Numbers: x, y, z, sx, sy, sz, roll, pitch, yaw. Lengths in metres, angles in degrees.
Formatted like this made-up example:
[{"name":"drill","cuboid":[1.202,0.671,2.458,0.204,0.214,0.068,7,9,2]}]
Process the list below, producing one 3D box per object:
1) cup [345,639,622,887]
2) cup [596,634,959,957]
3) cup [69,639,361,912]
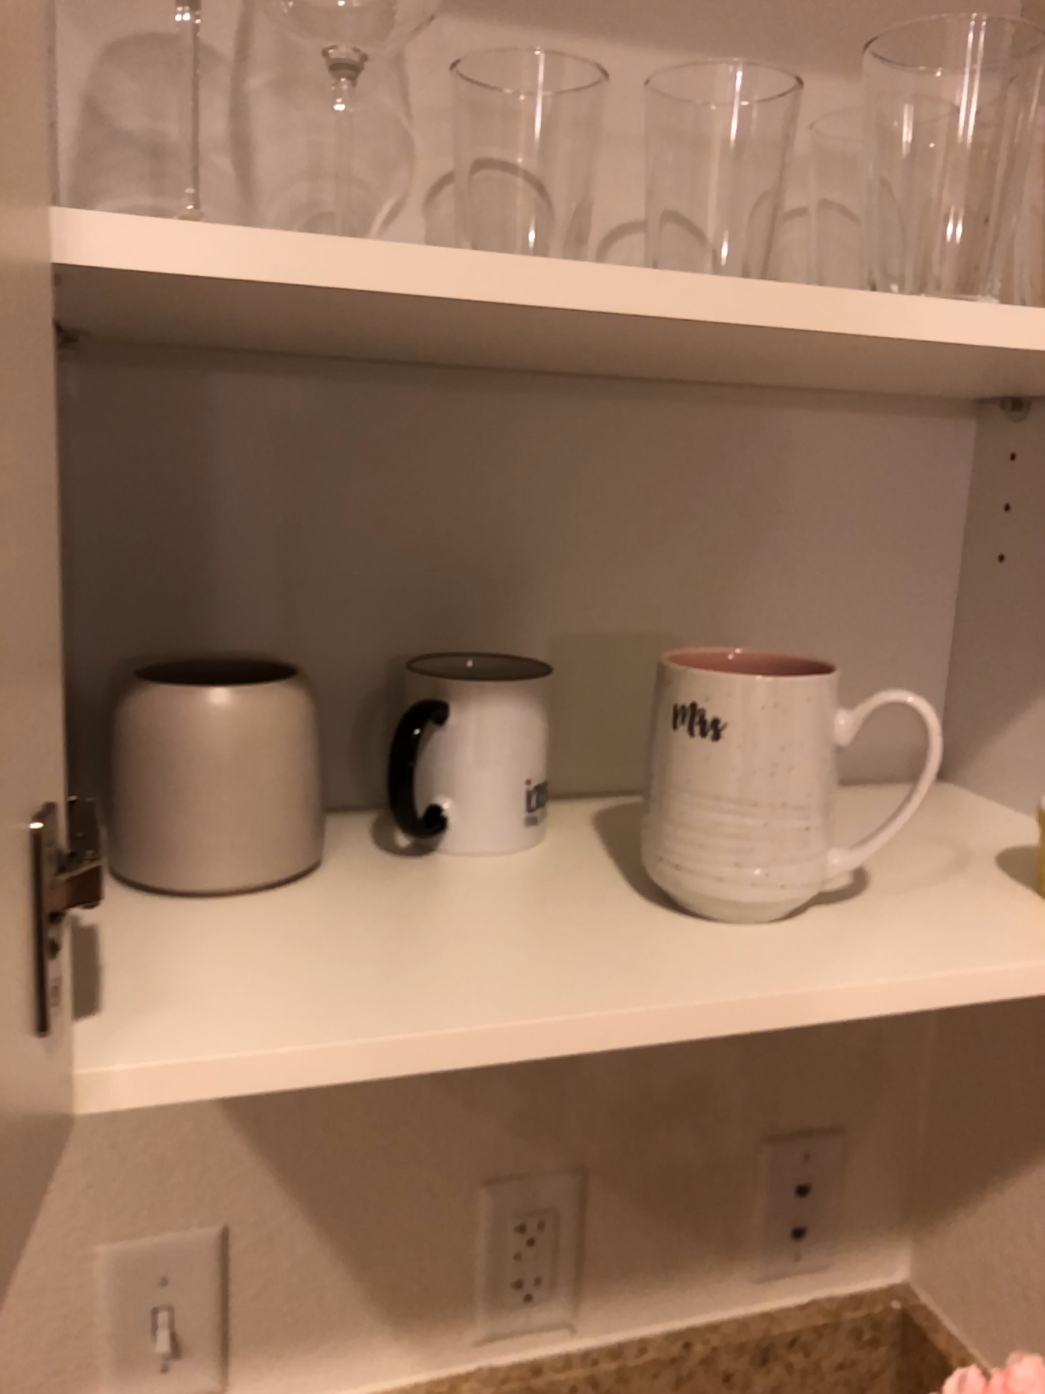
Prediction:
[{"name":"cup","cuboid":[-0.017,0.026,0.580,0.090,0.090,0.110,8,12,29]},{"name":"cup","cuboid":[0.115,0.037,0.527,0.140,0.110,0.090,6,11,17]},{"name":"cup","cuboid":[-0.155,0.029,0.569,0.110,0.090,0.150,-3,12,-25]}]
